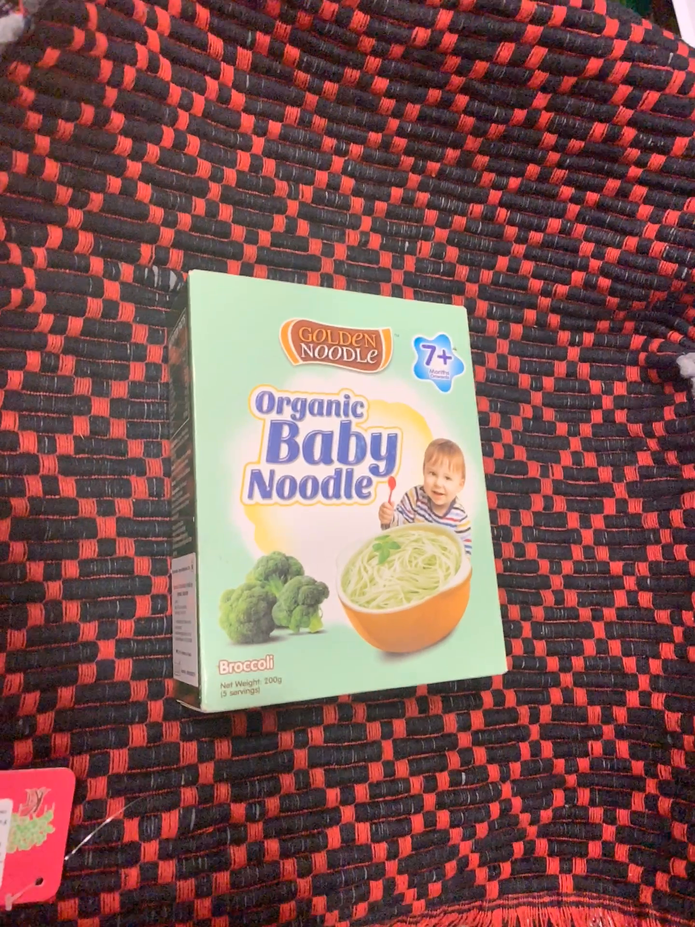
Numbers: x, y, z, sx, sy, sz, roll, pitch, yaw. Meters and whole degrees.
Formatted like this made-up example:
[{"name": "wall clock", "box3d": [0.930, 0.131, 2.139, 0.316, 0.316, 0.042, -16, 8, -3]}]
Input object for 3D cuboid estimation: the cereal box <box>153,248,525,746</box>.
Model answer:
[{"name": "cereal box", "box3d": [-0.007, 0.013, 0.296, 0.130, 0.060, 0.170, 1, 78, -26]}]
